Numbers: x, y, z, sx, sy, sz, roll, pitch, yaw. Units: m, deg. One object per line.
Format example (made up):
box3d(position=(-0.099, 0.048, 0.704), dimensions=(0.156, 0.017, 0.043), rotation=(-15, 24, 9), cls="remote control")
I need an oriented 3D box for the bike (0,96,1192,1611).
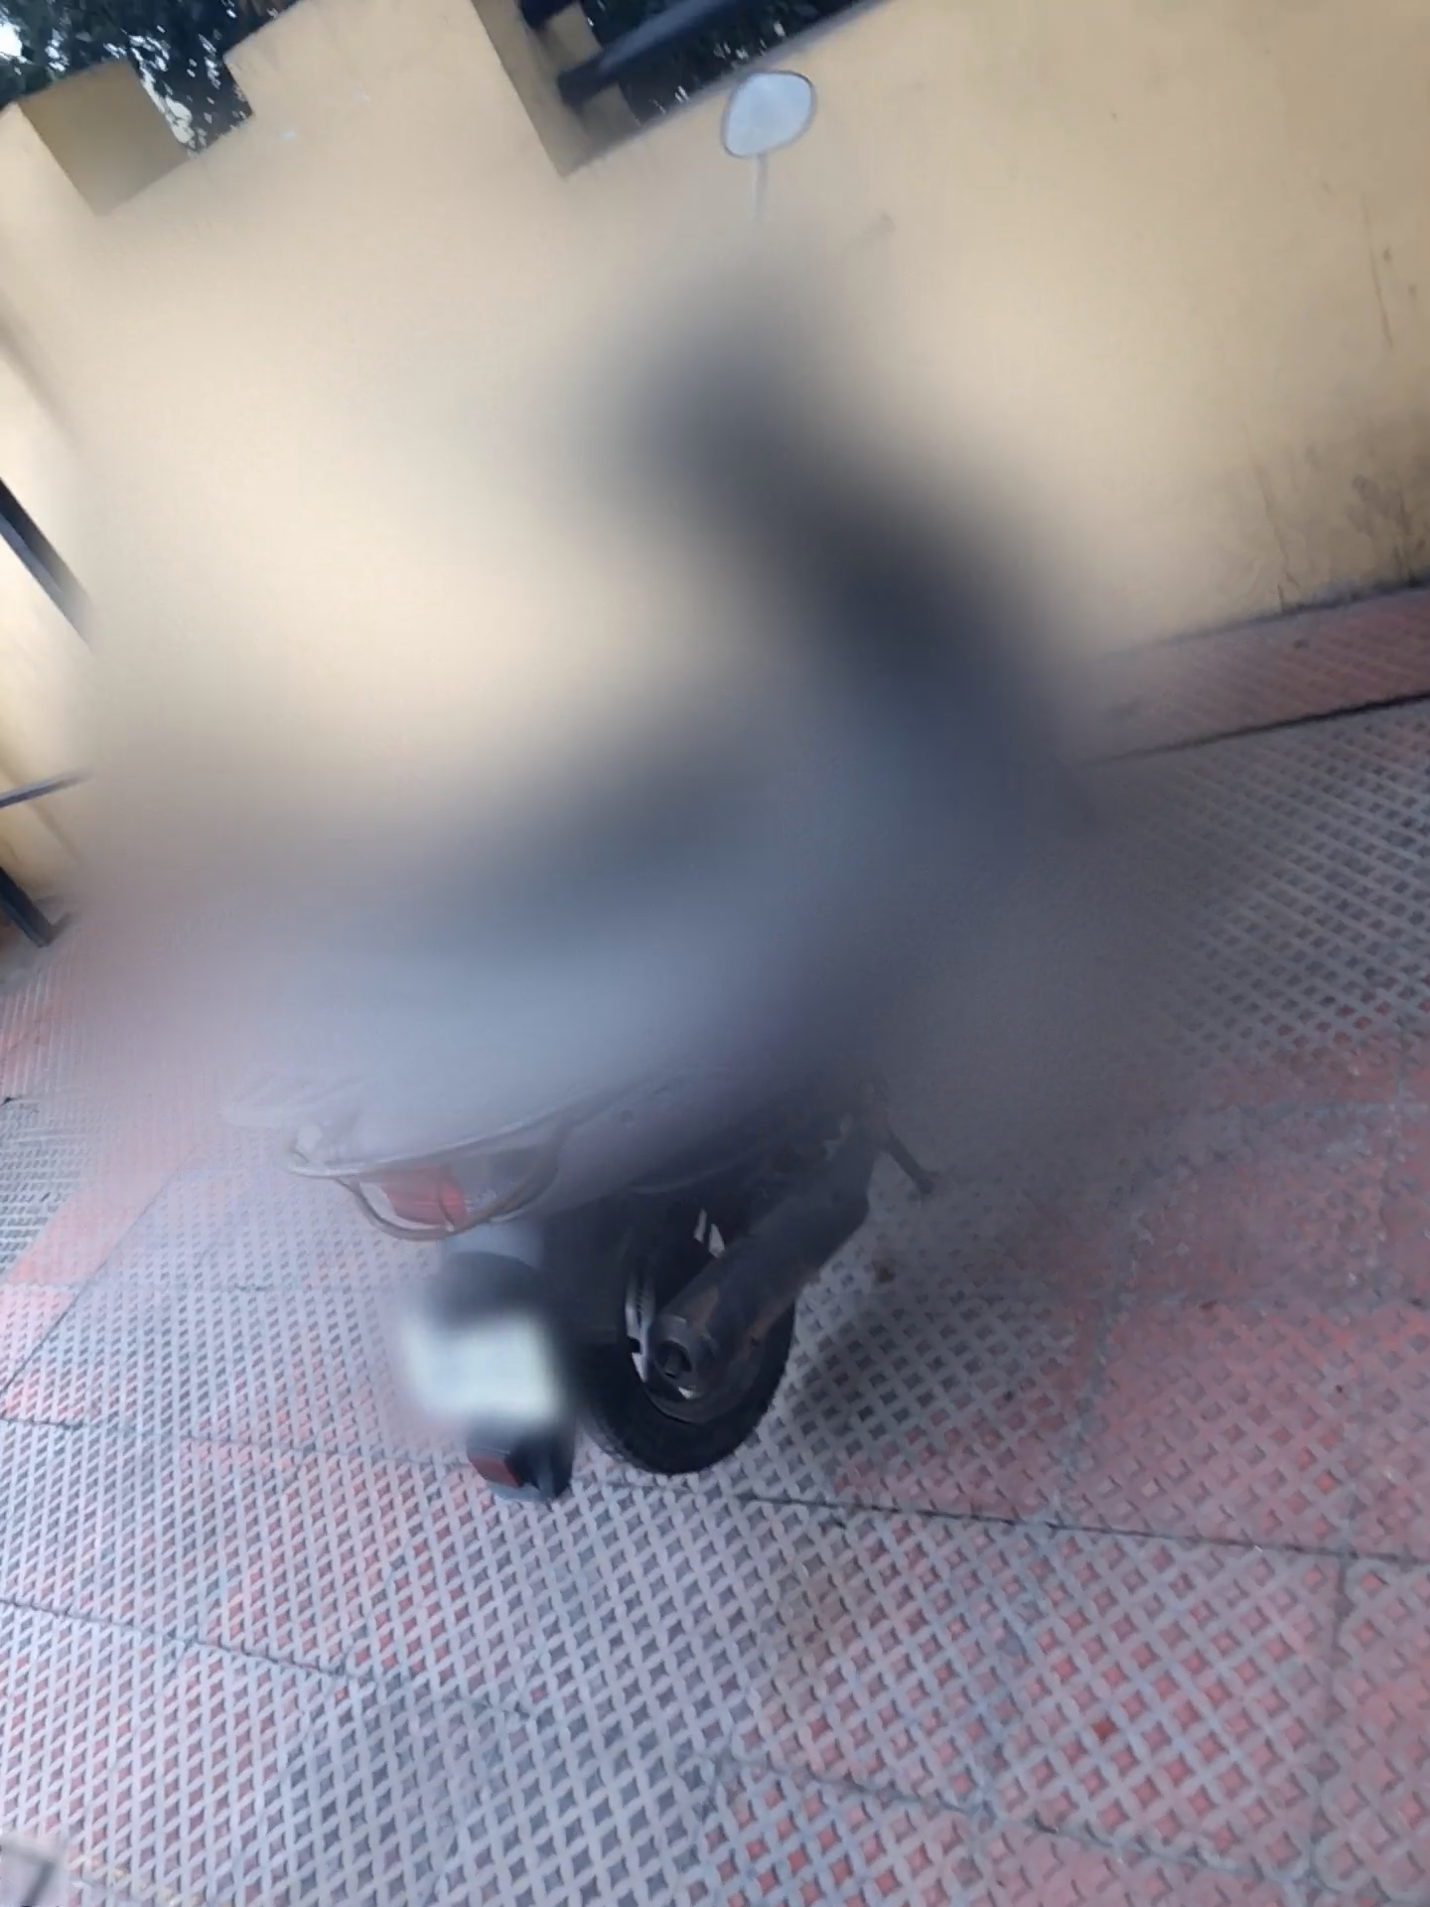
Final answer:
box3d(position=(0.040, -0.189, 2.059), dimensions=(0.601, 1.081, 1.476), rotation=(-7, 39, 36), cls="bike")
